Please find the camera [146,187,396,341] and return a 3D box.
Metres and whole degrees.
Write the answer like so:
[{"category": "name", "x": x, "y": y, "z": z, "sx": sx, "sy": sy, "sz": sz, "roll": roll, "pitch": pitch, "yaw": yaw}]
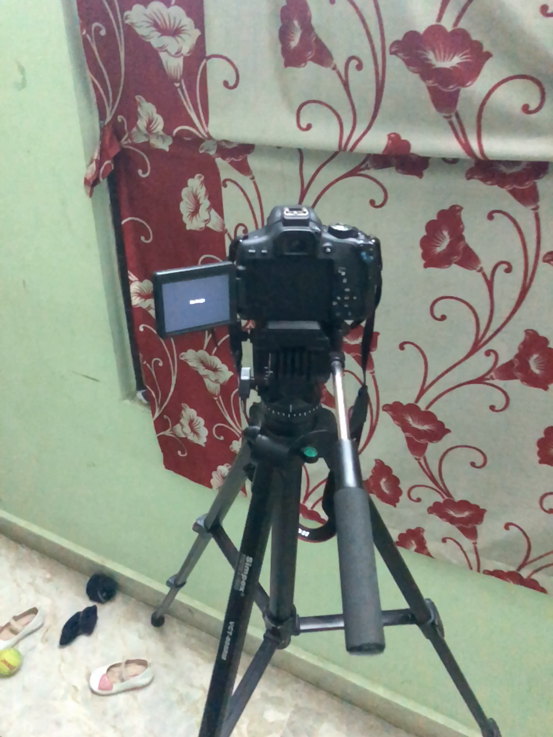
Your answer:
[{"category": "camera", "x": -0.005, "y": -0.102, "z": 0.566, "sx": 0.200, "sy": 0.087, "sz": 0.141, "roll": 1, "pitch": 35, "yaw": -1}]
